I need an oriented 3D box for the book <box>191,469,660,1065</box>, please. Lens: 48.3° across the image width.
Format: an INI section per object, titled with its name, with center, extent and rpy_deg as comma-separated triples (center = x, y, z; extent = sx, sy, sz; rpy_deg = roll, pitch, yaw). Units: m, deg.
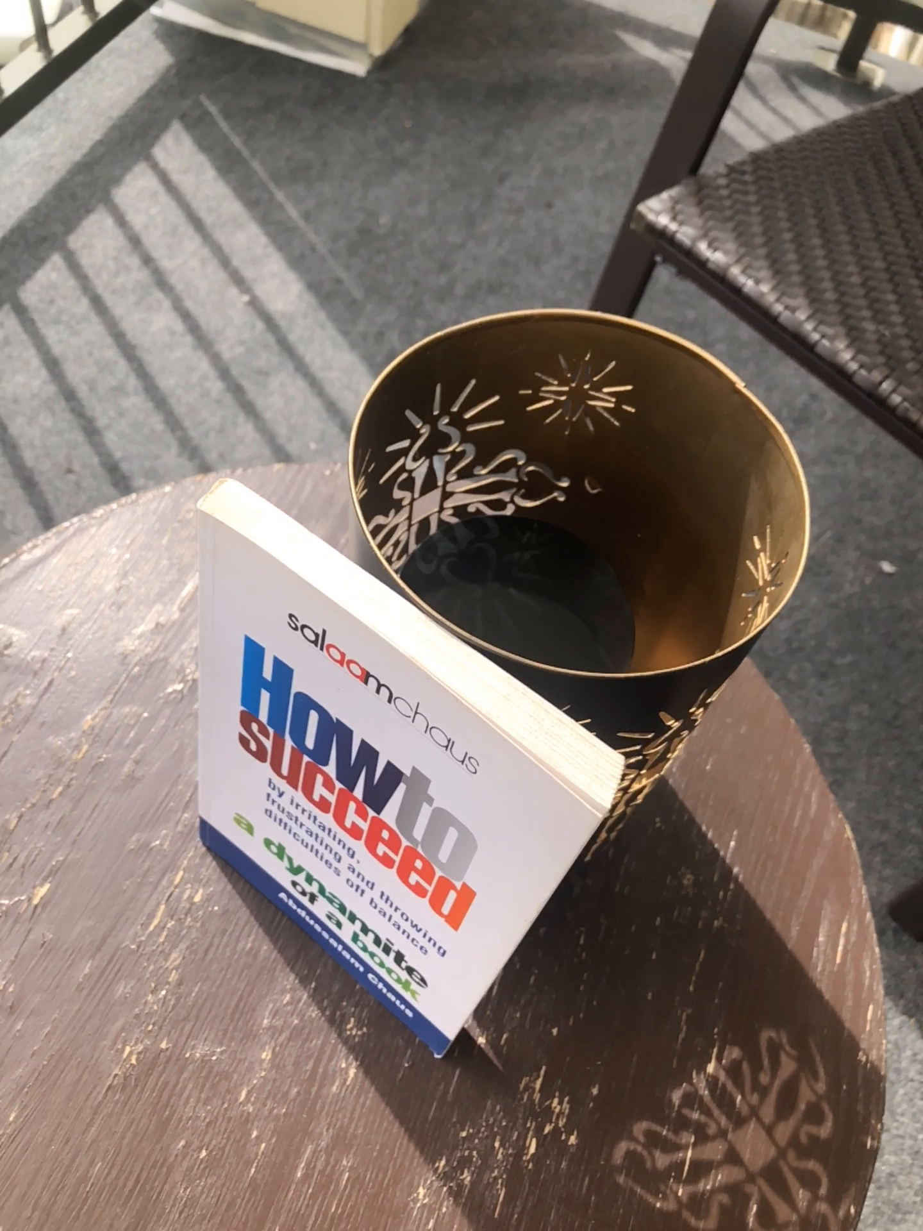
[book]
center = -0.033, 0.067, 0.340
extent = 0.138, 0.208, 0.018
rpy_deg = 36, 53, 14
